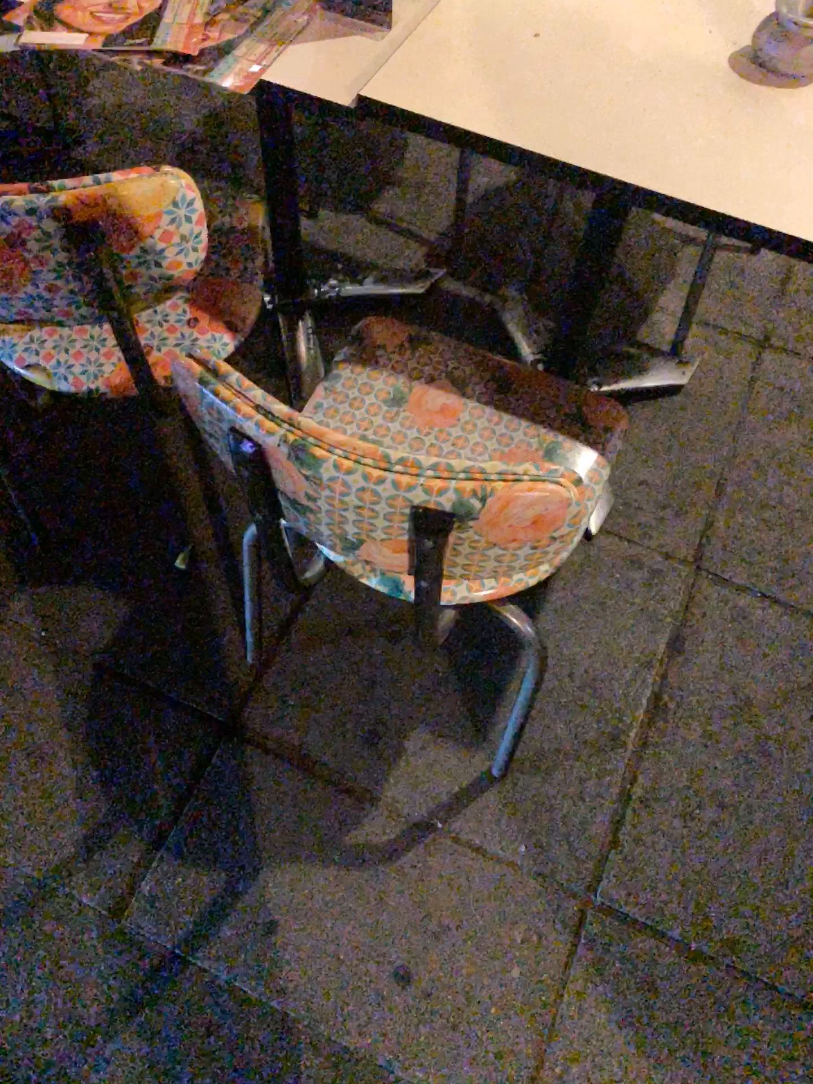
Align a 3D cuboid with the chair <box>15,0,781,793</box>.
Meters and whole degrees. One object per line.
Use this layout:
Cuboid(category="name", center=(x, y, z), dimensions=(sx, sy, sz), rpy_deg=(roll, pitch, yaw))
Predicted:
Cuboid(category="chair", center=(0.024, -0.132, 1.058), dimensions=(0.520, 0.695, 0.573), rpy_deg=(20, 62, 9))
